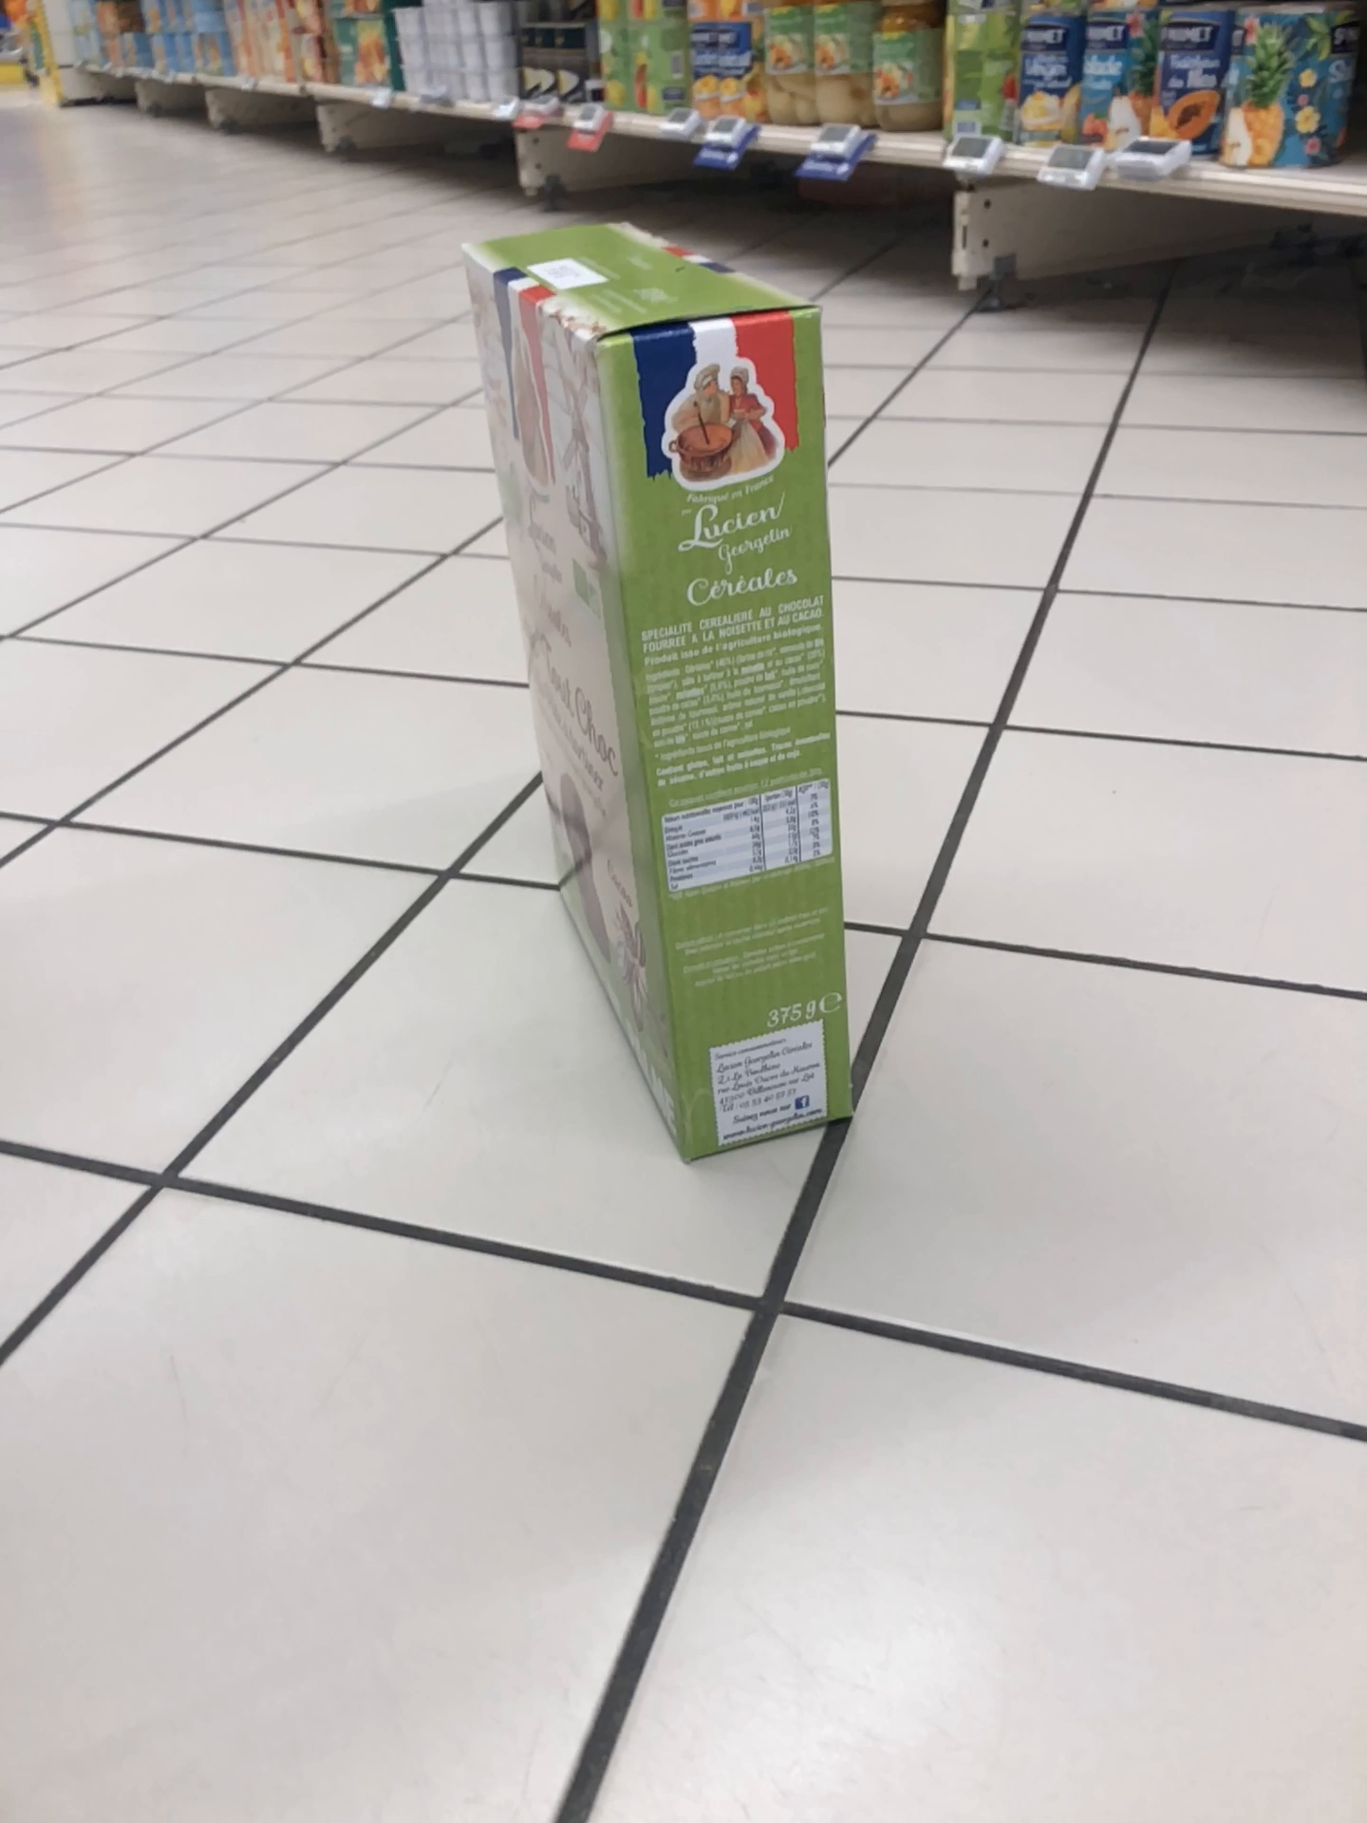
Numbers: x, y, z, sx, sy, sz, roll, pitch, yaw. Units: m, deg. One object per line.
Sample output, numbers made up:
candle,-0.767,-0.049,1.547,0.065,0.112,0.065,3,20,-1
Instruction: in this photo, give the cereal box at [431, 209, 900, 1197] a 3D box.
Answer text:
cereal box,-0.011,-0.076,0.468,0.080,0.239,0.201,-10,31,-12
